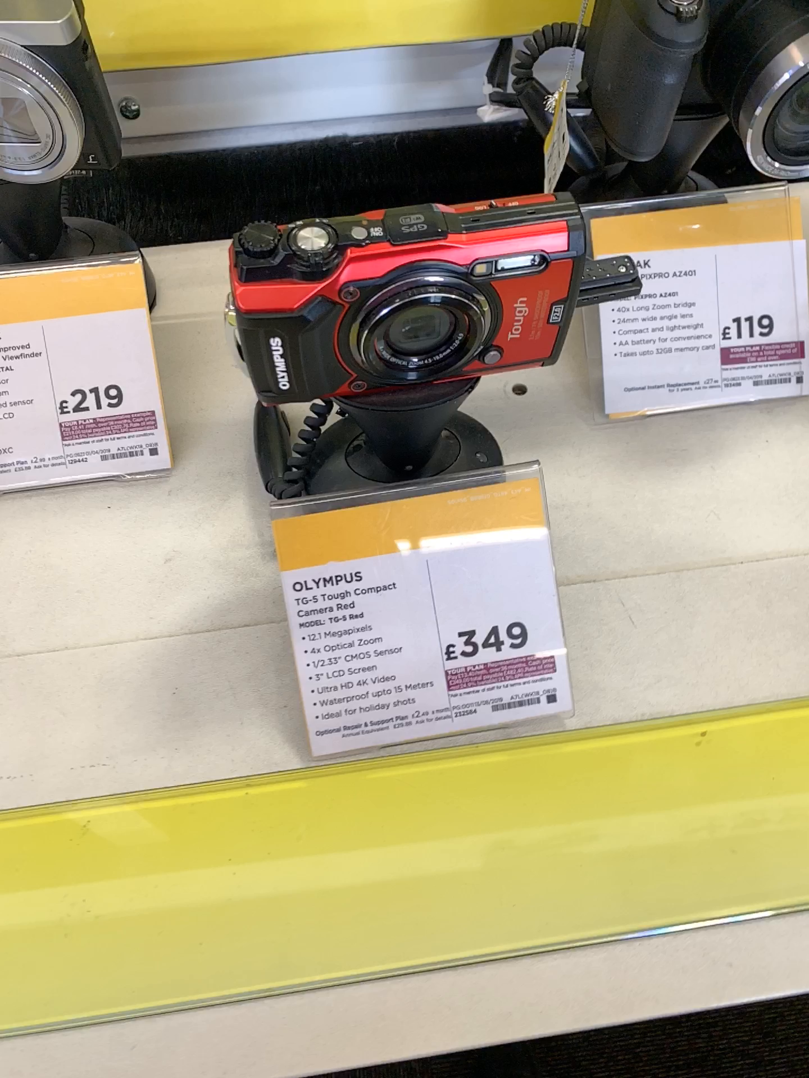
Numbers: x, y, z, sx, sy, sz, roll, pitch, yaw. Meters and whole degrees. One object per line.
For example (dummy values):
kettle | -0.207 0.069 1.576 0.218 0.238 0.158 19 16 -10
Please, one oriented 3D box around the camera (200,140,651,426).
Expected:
camera | 0.005 -0.077 0.258 0.120 0.060 0.040 -9 63 -5
